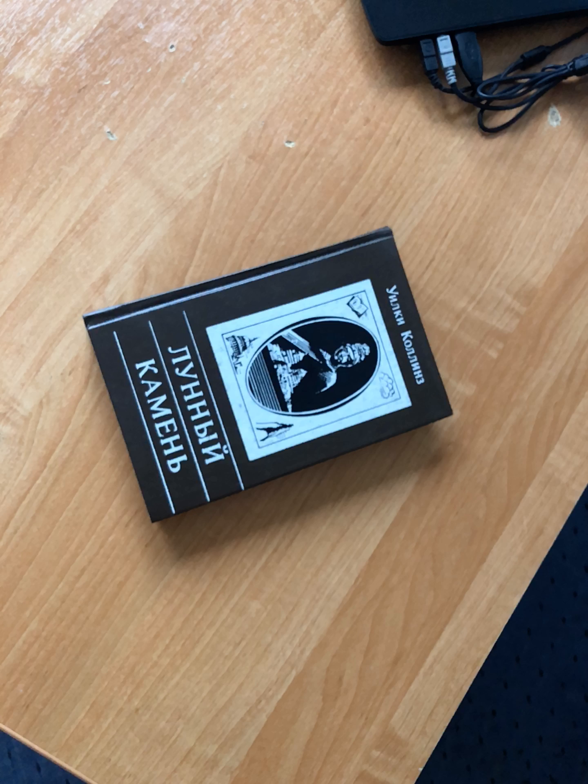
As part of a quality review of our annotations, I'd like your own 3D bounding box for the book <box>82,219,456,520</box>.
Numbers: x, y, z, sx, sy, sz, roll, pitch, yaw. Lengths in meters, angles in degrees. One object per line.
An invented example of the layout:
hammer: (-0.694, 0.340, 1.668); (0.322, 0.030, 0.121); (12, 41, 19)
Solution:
book: (-0.013, -0.017, 0.416); (0.199, 0.032, 0.133); (-18, 88, -10)
